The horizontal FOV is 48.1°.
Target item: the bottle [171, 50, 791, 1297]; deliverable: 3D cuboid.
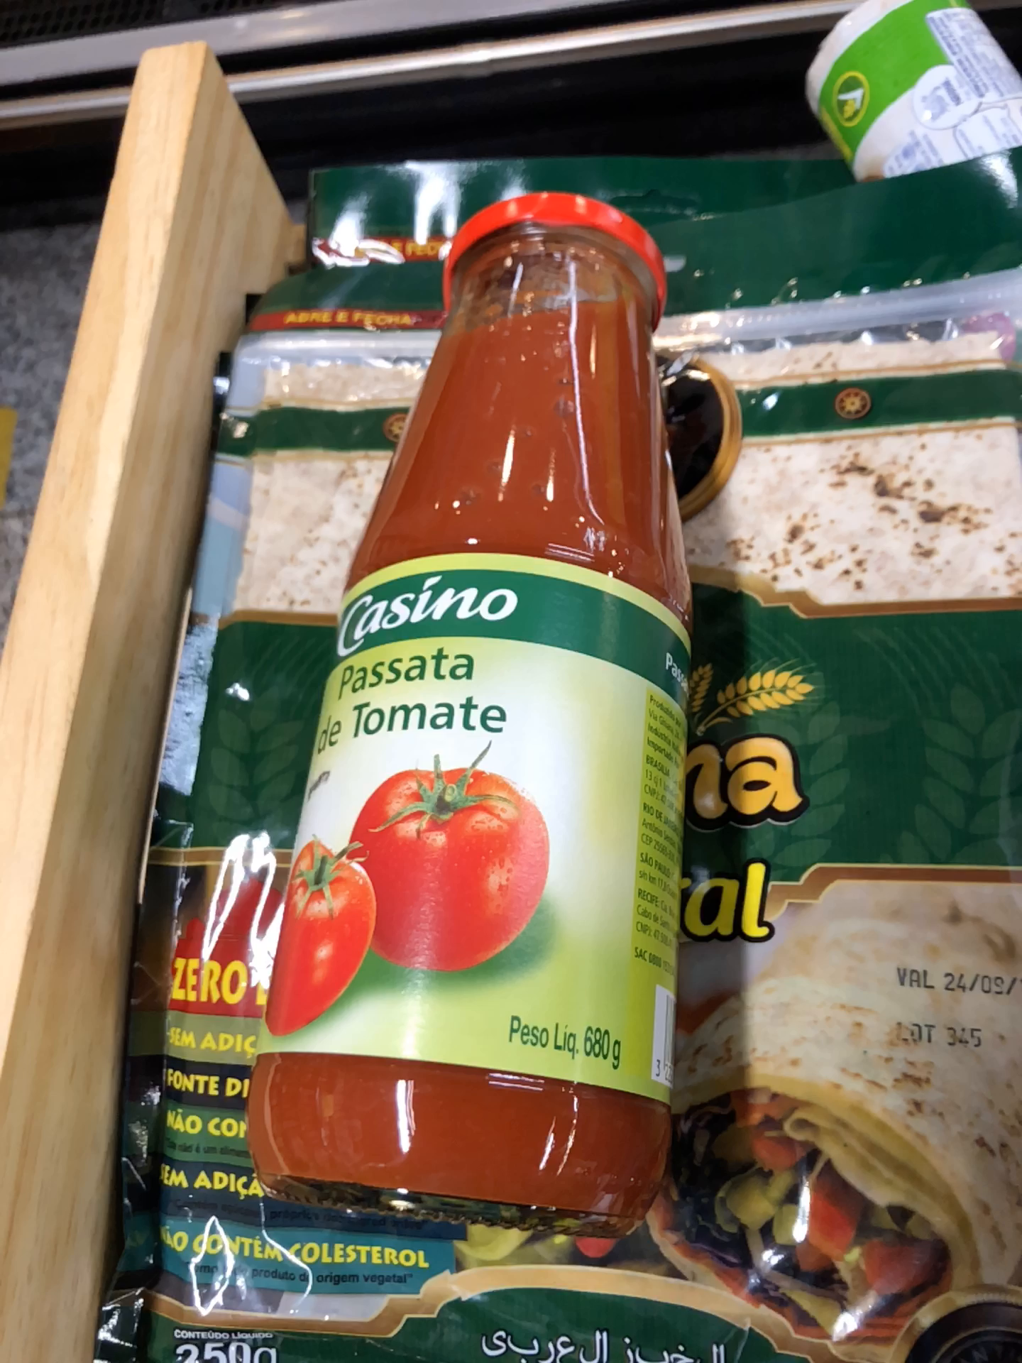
[{"bbox_3d":[0.007,-0.006,0.244,0.070,0.080,0.231,-10,63,36],"label":"bottle"}]
